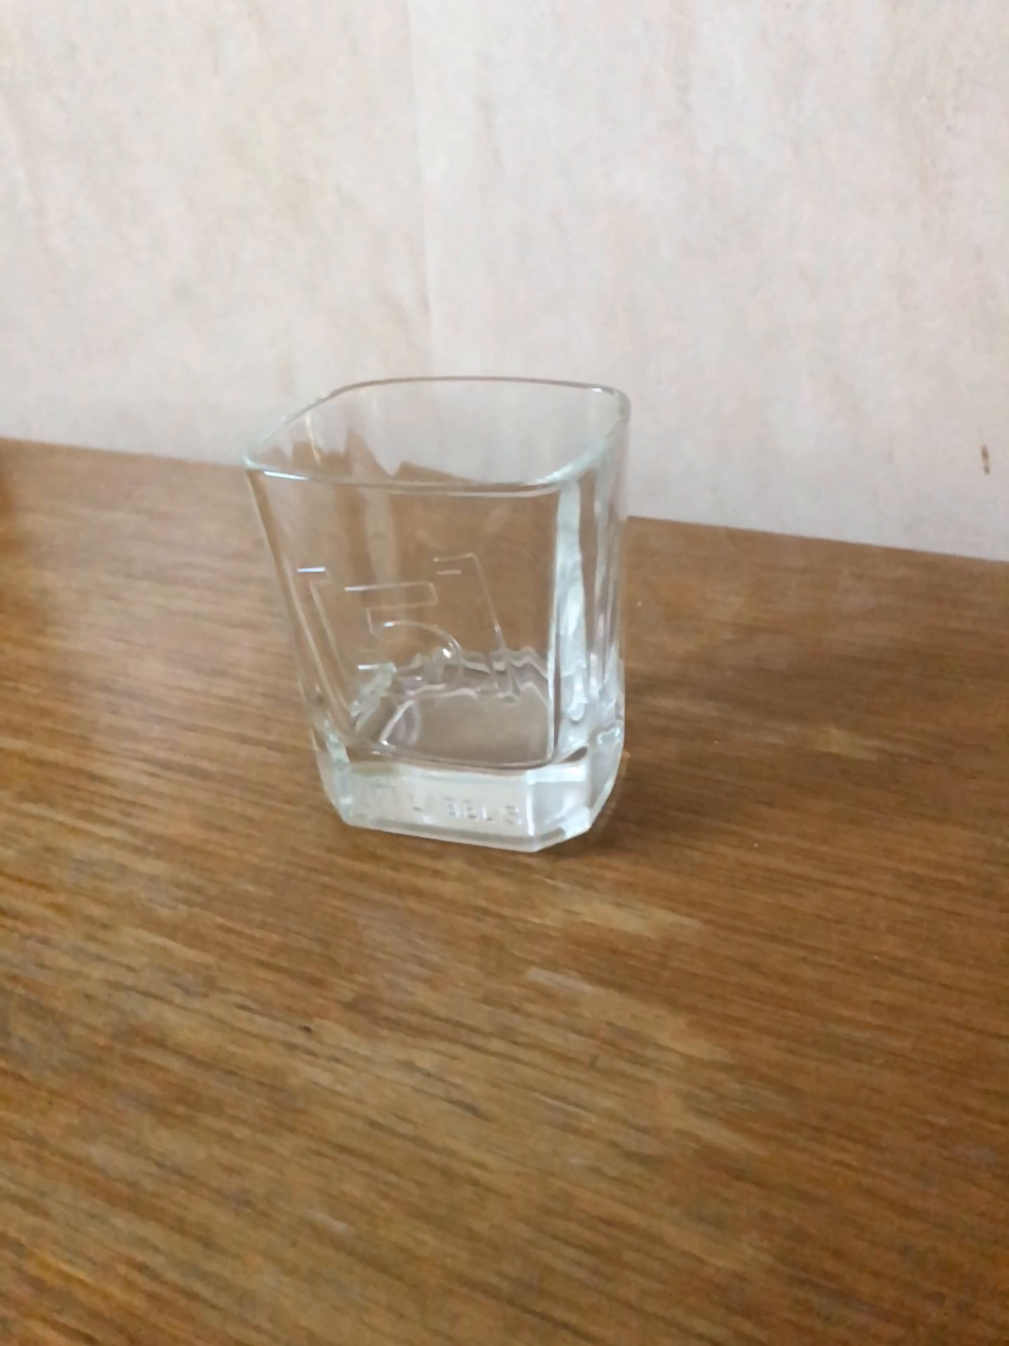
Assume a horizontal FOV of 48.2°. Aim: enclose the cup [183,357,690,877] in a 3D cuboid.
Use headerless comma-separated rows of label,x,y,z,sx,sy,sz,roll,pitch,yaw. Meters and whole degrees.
cup,-0.006,-0.016,0.218,0.070,0.070,0.070,-2,29,1
